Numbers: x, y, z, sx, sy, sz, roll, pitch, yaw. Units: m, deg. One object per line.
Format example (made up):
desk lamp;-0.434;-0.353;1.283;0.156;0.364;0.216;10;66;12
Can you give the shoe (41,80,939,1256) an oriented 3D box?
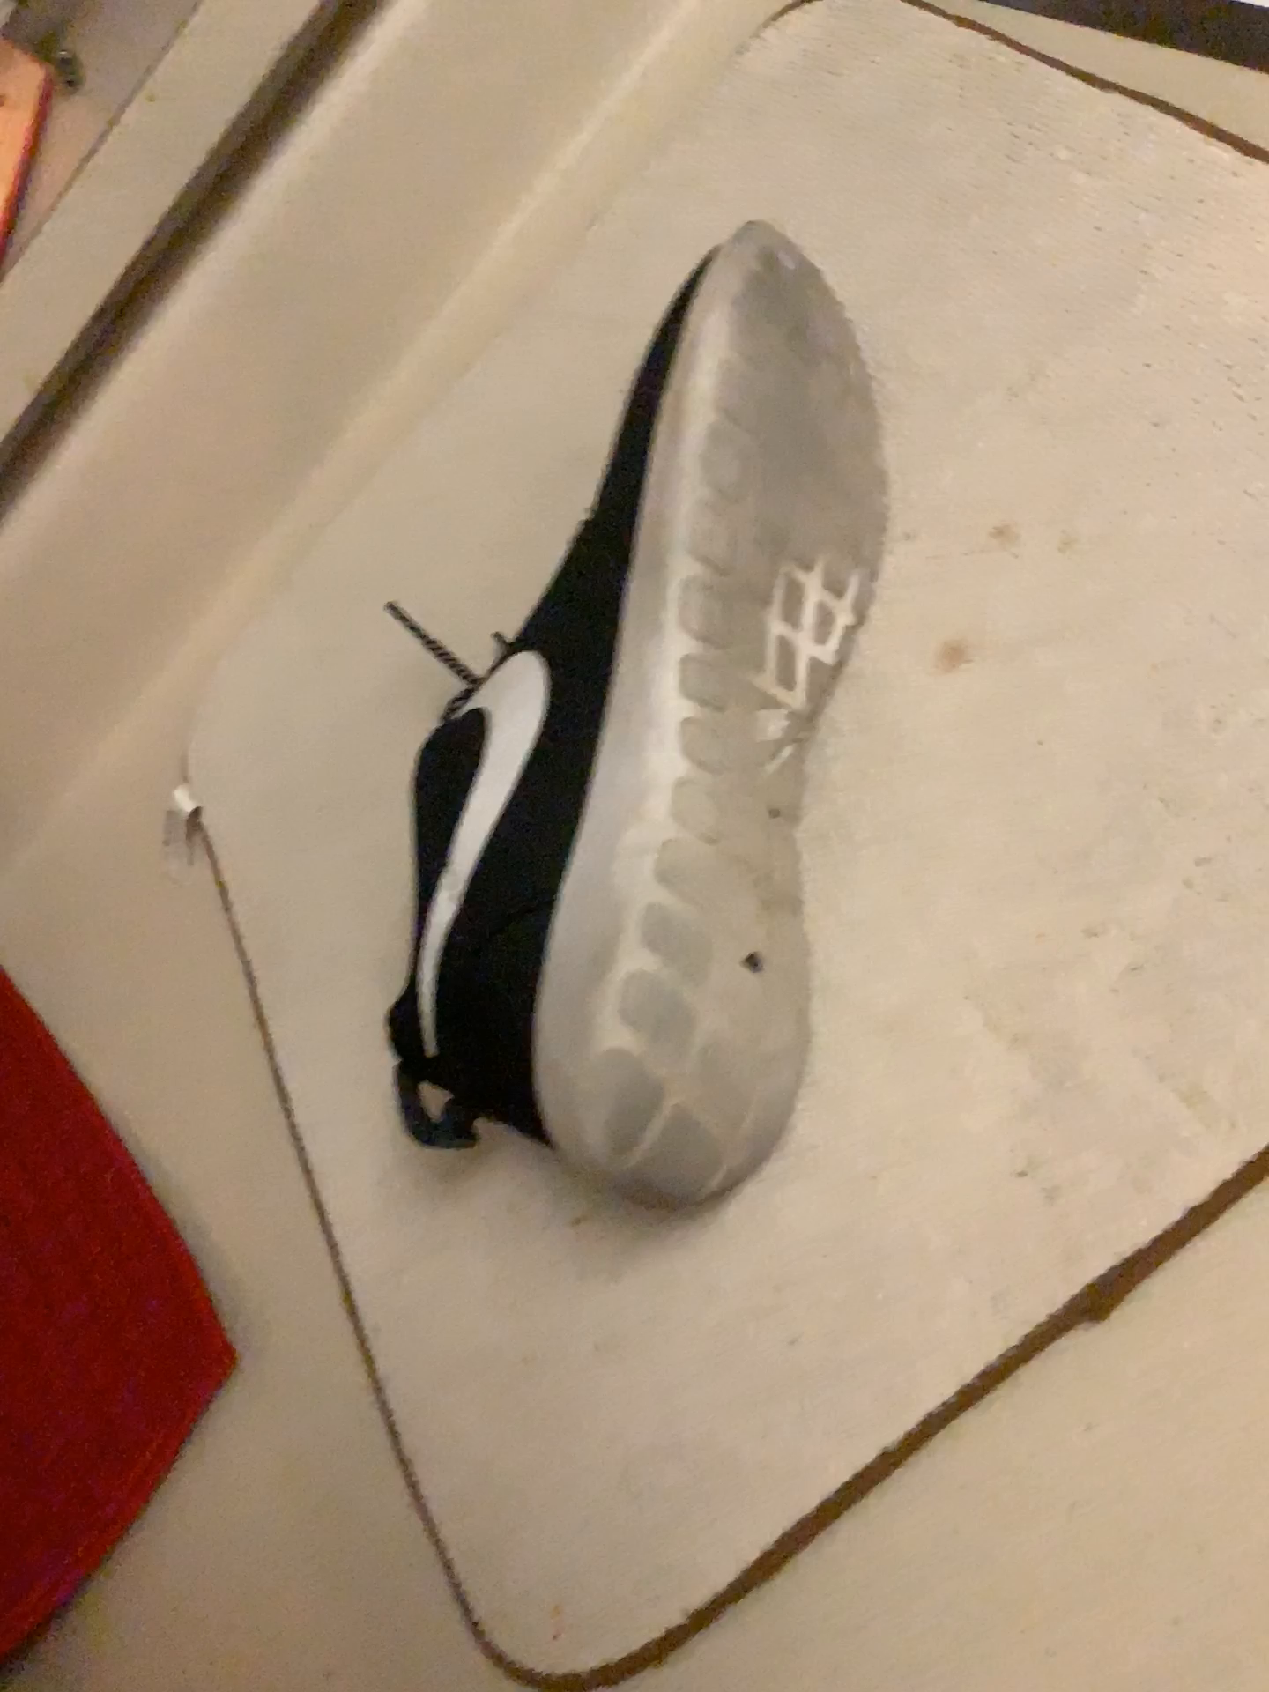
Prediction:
shoe;-0.034;-0.041;0.399;0.180;0.100;0.270;-4;66;39
